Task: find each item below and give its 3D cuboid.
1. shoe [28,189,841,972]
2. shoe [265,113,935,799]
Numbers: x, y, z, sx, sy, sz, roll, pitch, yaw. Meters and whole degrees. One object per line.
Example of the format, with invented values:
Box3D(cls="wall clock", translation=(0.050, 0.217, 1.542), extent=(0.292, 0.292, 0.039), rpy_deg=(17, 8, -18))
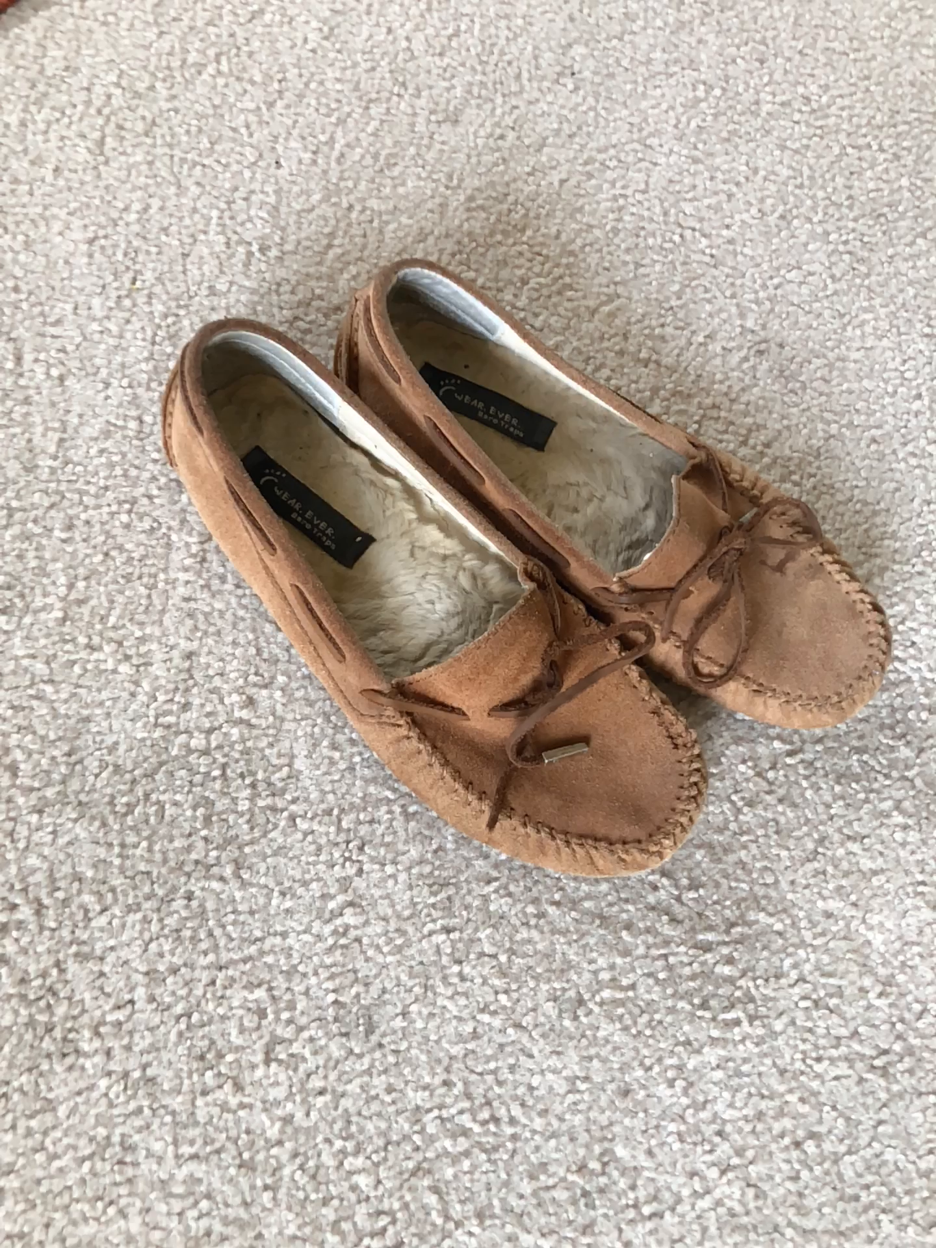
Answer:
Box3D(cls="shoe", translation=(-0.015, -0.016, 0.366), extent=(0.270, 0.068, 0.105), rpy_deg=(44, 70, 5))
Box3D(cls="shoe", translation=(0.061, -0.062, 0.395), extent=(0.274, 0.068, 0.098), rpy_deg=(38, 70, 3))
